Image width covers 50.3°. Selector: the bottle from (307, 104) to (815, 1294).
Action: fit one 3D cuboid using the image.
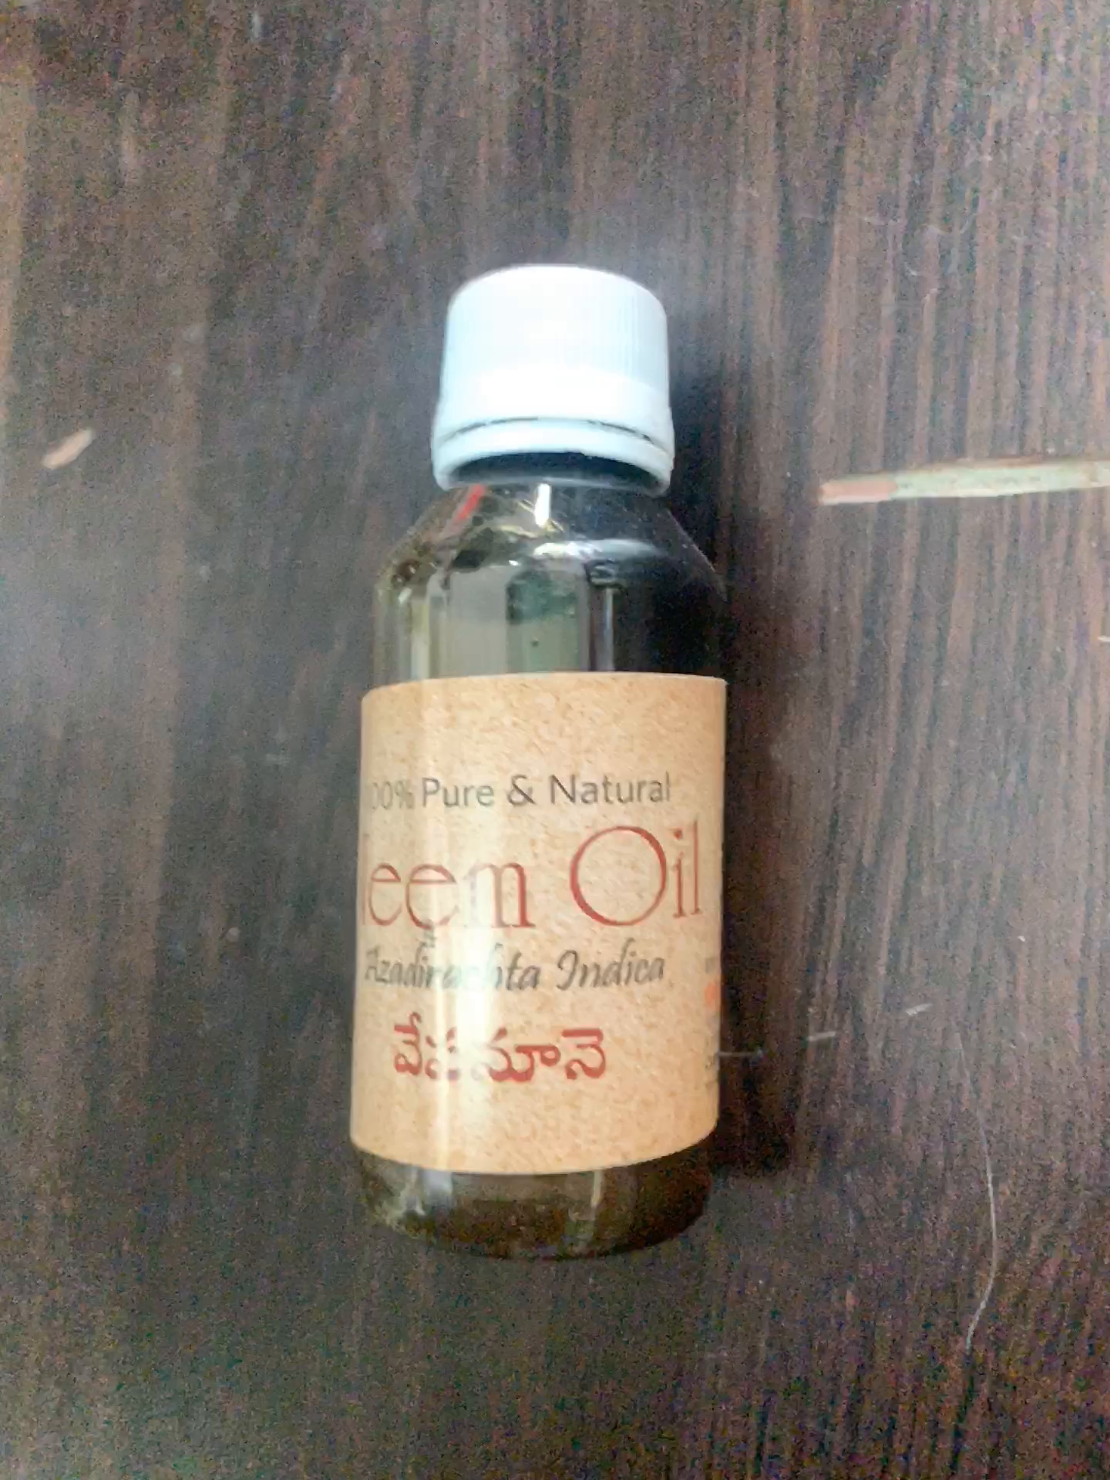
[{"bbox_3d":[0.004,-0.004,0.146,0.050,0.040,0.120,-1,85,20],"label":"bottle"}]
